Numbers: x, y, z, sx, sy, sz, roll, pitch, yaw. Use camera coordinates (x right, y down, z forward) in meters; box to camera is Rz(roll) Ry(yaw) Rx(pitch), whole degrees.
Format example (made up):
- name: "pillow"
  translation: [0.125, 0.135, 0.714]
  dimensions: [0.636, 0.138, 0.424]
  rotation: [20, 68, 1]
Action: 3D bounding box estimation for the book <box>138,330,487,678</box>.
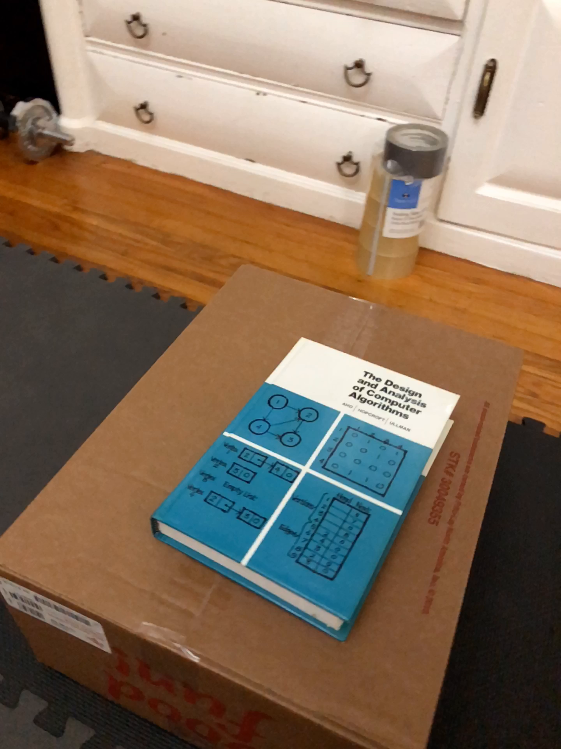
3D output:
- name: "book"
  translation: [0.040, 0.081, 0.525]
  dimensions: [0.190, 0.040, 0.261]
  rotation: [23, 47, 19]
